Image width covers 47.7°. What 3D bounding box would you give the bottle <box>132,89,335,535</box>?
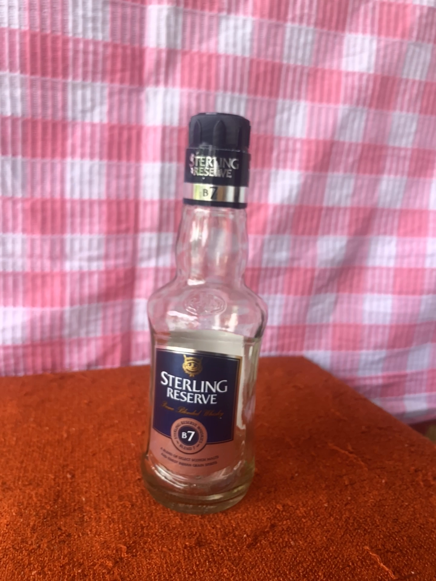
[{"bbox_3d":[0.005,0.010,0.212,0.060,0.169,0.050,8,14,7],"label":"bottle"}]
